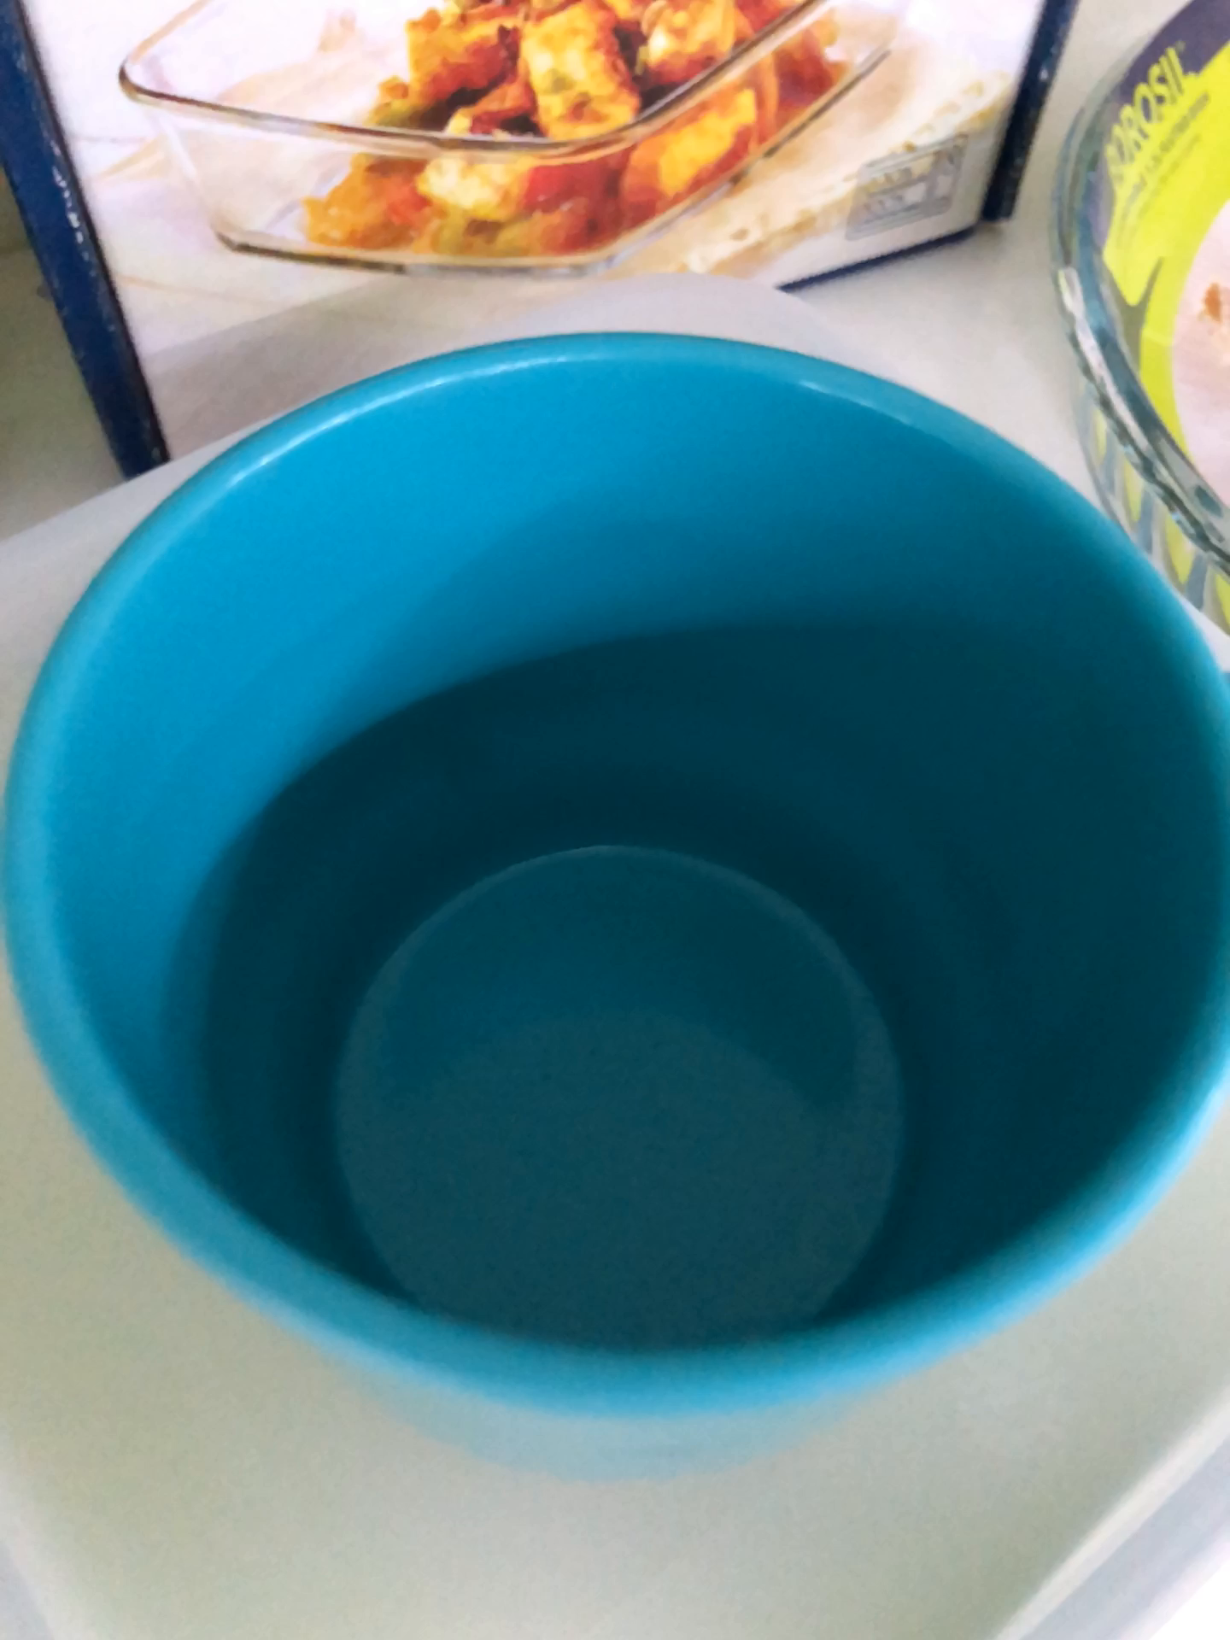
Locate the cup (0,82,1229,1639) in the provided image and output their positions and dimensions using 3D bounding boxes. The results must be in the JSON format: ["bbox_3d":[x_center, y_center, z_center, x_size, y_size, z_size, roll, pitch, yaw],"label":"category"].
[{"bbox_3d":[0.016,0.004,0.123,0.120,0.070,0.090,-20,60,-14],"label":"cup"}]
